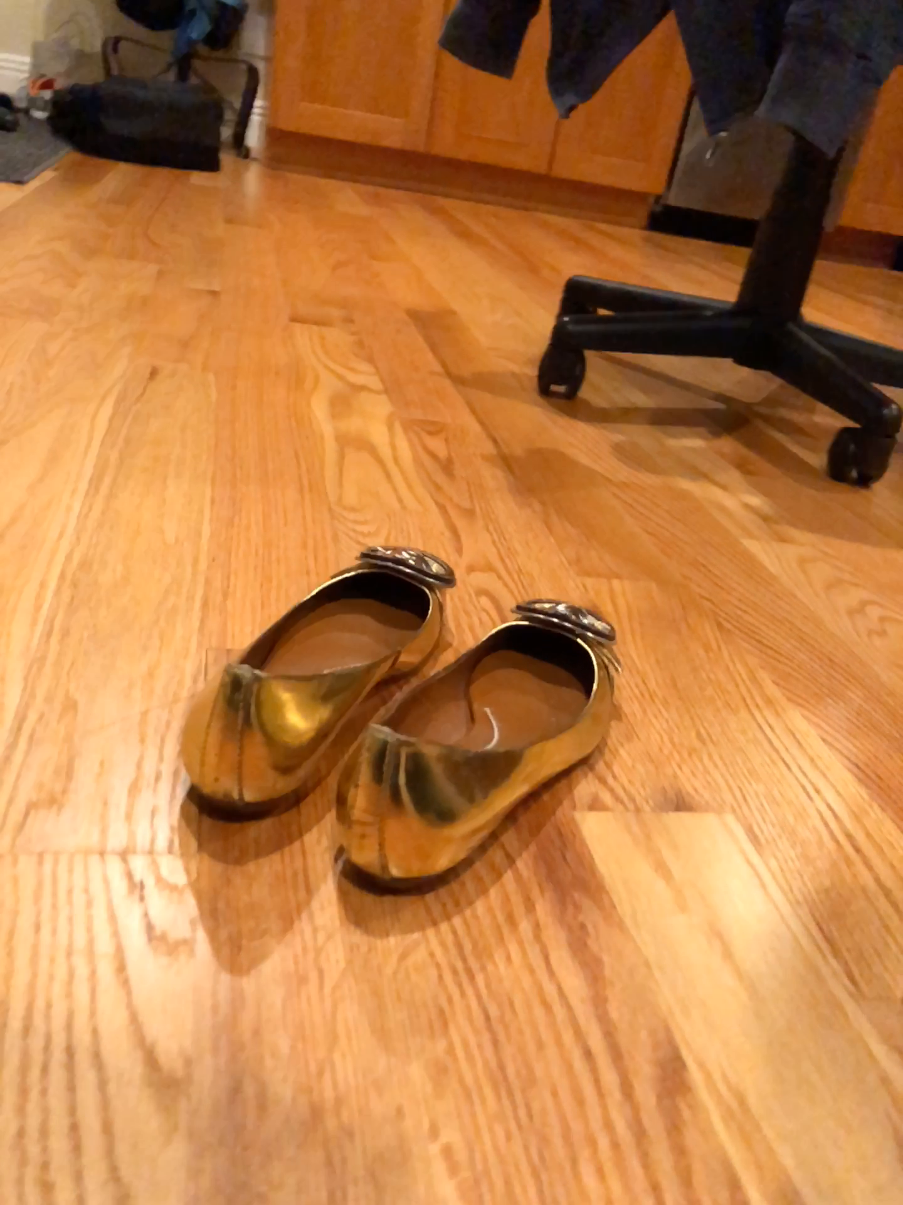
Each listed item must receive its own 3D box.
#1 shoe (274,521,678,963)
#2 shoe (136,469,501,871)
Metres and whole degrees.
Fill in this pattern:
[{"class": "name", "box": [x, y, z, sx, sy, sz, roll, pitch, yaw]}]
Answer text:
[{"class": "shoe", "box": [0.027, 0.040, 0.447, 0.077, 0.066, 0.250, 20, 28, 18]}, {"class": "shoe", "box": [-0.047, 0.012, 0.473, 0.083, 0.066, 0.245, 15, 27, 9]}]
